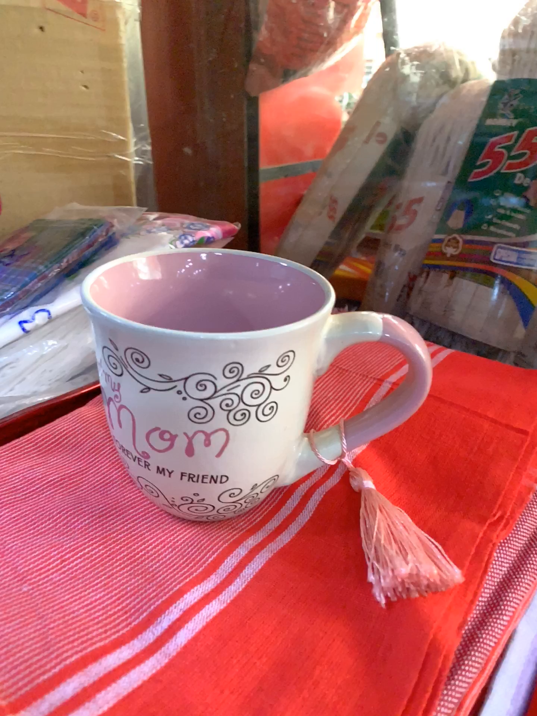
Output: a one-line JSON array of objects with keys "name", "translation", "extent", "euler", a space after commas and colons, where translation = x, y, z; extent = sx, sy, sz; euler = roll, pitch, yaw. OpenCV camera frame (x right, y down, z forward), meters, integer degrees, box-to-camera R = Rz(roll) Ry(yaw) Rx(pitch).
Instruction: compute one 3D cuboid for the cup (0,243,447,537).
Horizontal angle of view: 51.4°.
[{"name": "cup", "translation": [-0.014, 0.006, 0.208], "extent": [0.125, 0.075, 0.086], "euler": [0, 28, 0]}]
